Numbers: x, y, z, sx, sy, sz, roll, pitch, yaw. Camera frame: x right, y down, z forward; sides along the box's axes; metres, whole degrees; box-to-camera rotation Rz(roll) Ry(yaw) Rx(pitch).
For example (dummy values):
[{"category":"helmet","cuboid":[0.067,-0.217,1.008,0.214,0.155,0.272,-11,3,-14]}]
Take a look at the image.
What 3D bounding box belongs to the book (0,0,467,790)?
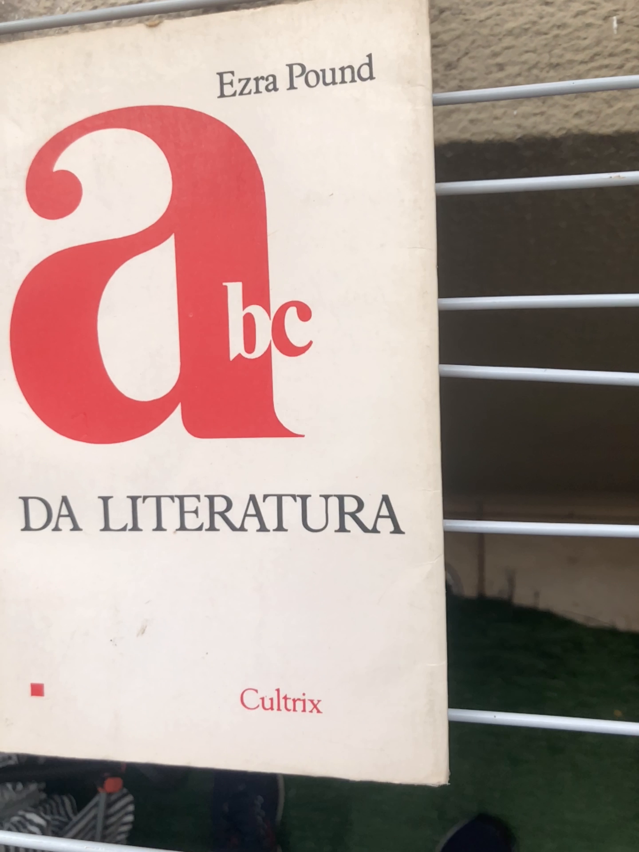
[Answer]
[{"category":"book","cuboid":[-0.035,-0.005,0.188,0.140,0.017,0.187,-1,93,11]}]
